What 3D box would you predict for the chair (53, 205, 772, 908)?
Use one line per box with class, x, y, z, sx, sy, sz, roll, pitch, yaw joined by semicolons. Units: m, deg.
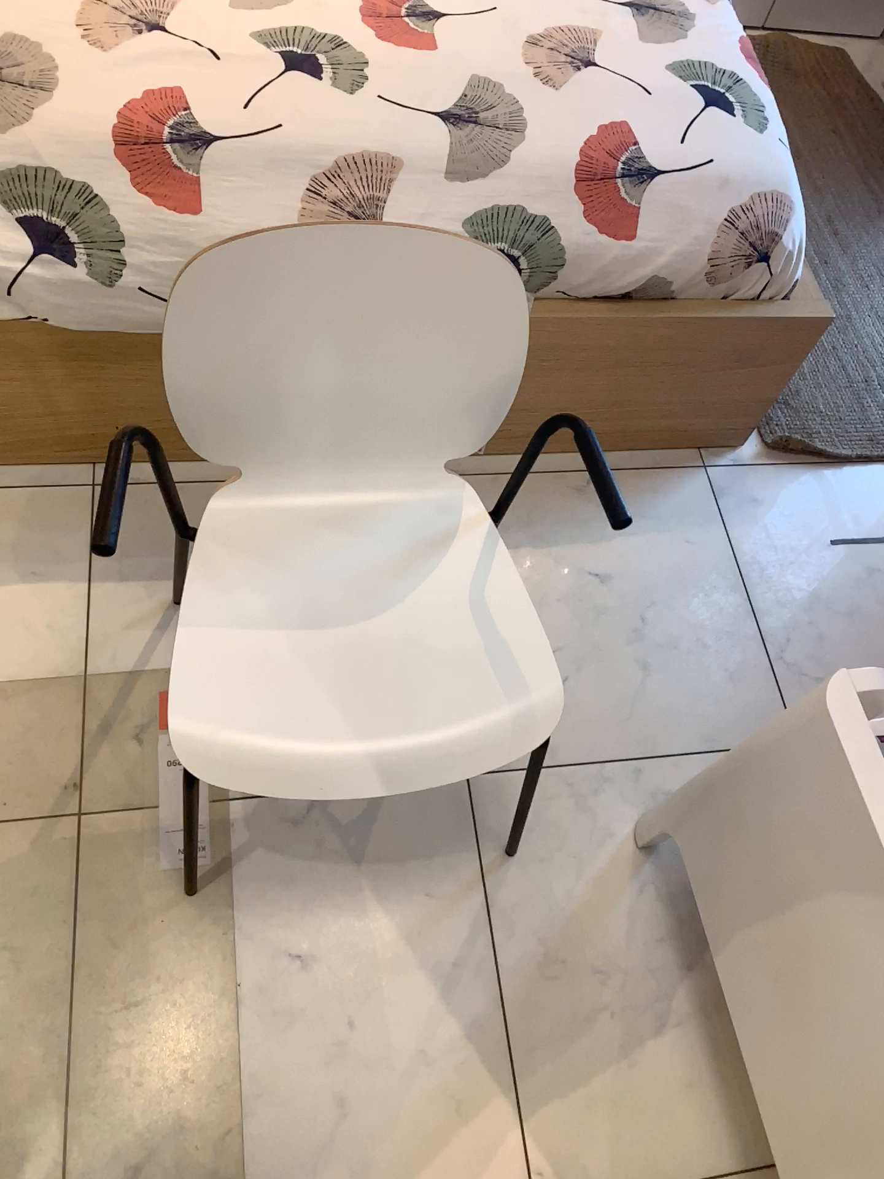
chair;-0.092;0.015;1.104;0.550;0.699;0.541;-3;62;-12
